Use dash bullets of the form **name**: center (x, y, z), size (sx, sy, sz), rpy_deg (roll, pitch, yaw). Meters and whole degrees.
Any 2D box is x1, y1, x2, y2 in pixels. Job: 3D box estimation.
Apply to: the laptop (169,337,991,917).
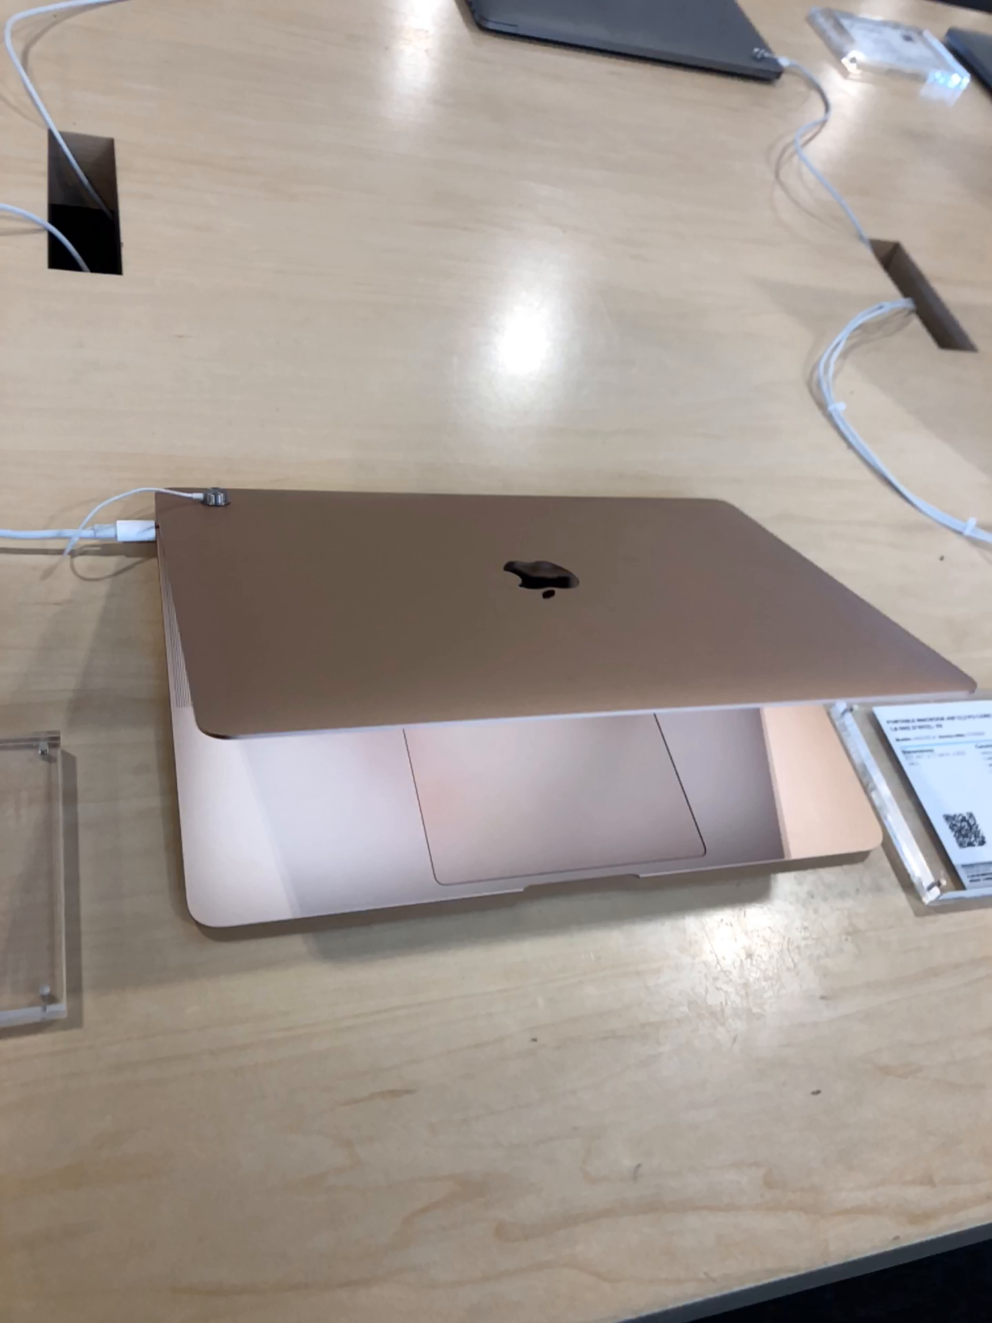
- **laptop**: center (0.020, -0.026, 0.457), size (0.288, 0.093, 0.203), rpy_deg (-2, 53, -21)
